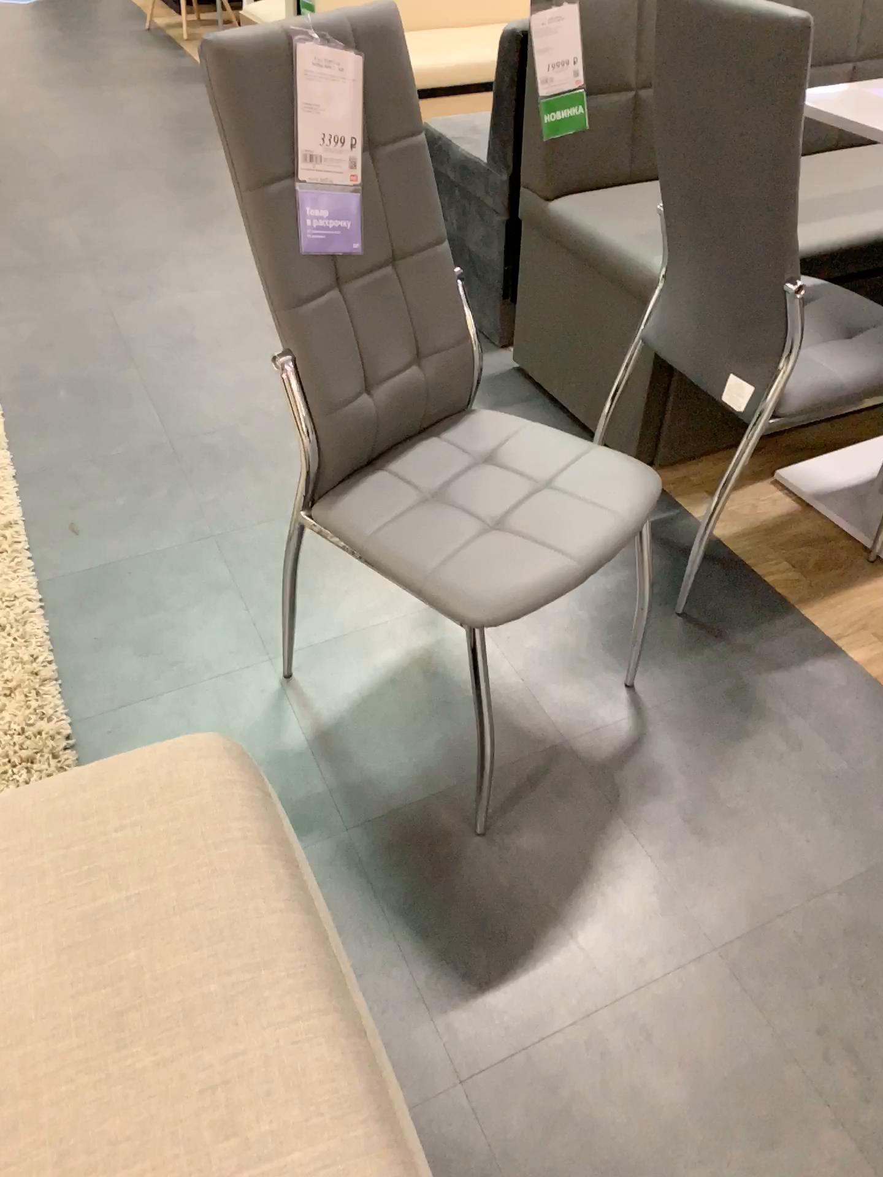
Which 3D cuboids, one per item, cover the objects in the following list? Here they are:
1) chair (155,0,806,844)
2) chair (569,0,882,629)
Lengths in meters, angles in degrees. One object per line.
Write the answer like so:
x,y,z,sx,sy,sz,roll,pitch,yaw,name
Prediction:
0.036,-0.220,1.327,0.531,1.024,0.472,32,51,30,chair
0.644,-0.510,1.698,0.551,1.024,0.452,-15,44,-17,chair
